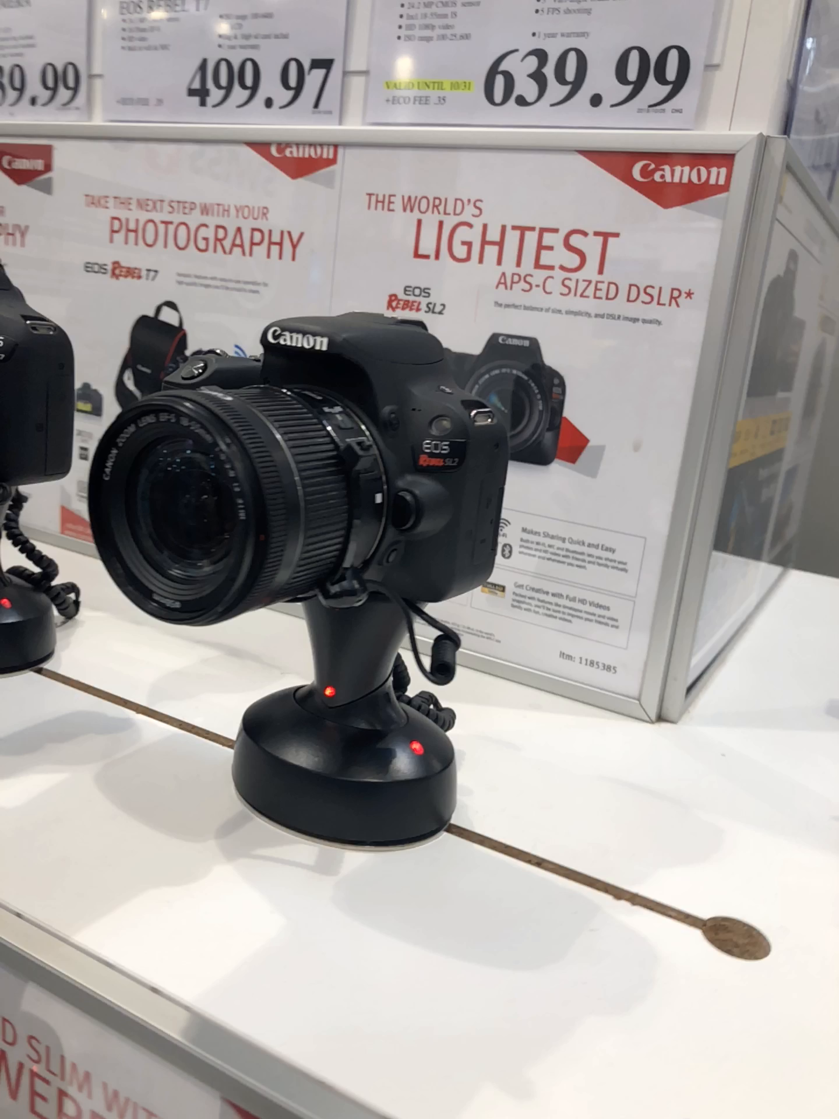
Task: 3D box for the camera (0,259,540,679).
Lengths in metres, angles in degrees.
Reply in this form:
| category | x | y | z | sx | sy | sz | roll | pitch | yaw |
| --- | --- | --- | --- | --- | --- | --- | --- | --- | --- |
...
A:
| category | x | y | z | sx | sy | sz | roll | pitch | yaw |
| --- | --- | --- | --- | --- | --- | --- | --- | --- | --- |
| camera | -0.050 | -0.039 | 0.297 | 0.130 | 0.090 | 0.120 | 14 | 16 | 27 |
